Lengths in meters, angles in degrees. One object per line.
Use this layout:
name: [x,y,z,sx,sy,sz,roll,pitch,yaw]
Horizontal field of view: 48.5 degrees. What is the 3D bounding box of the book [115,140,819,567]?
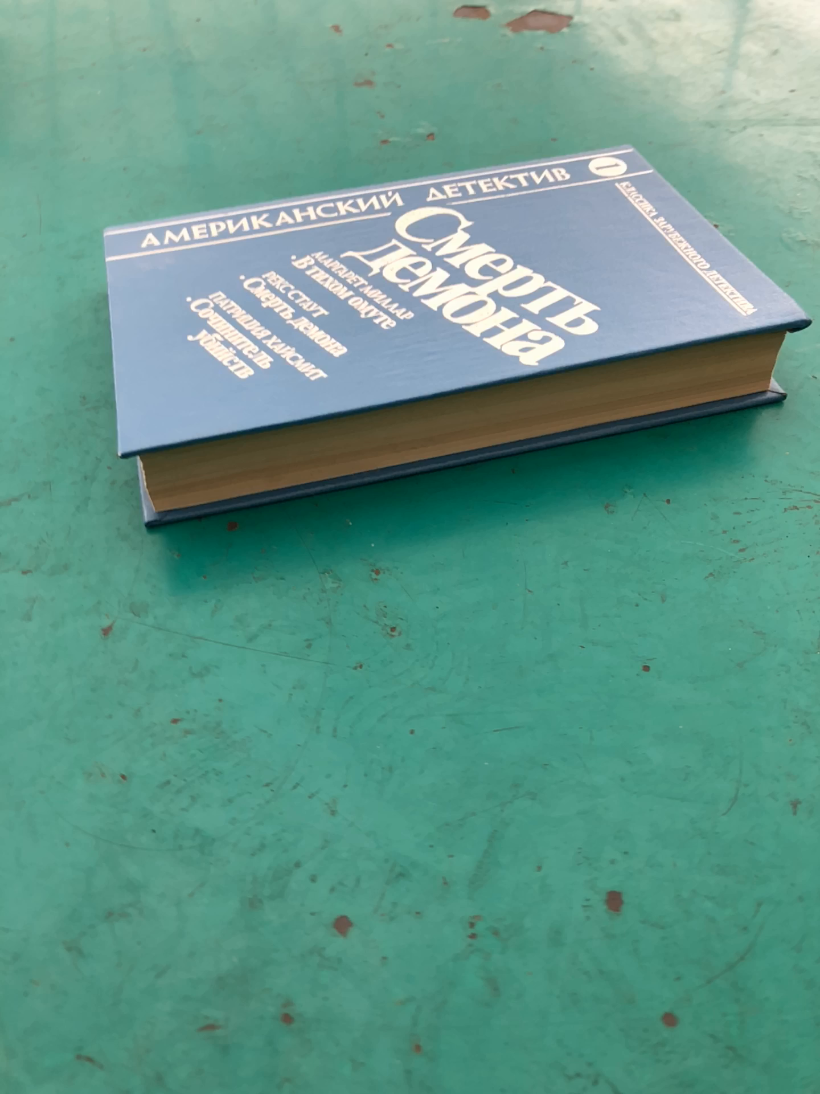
book: [0.016,-0.077,0.305,0.212,0.034,0.142,-11,47,-9]
